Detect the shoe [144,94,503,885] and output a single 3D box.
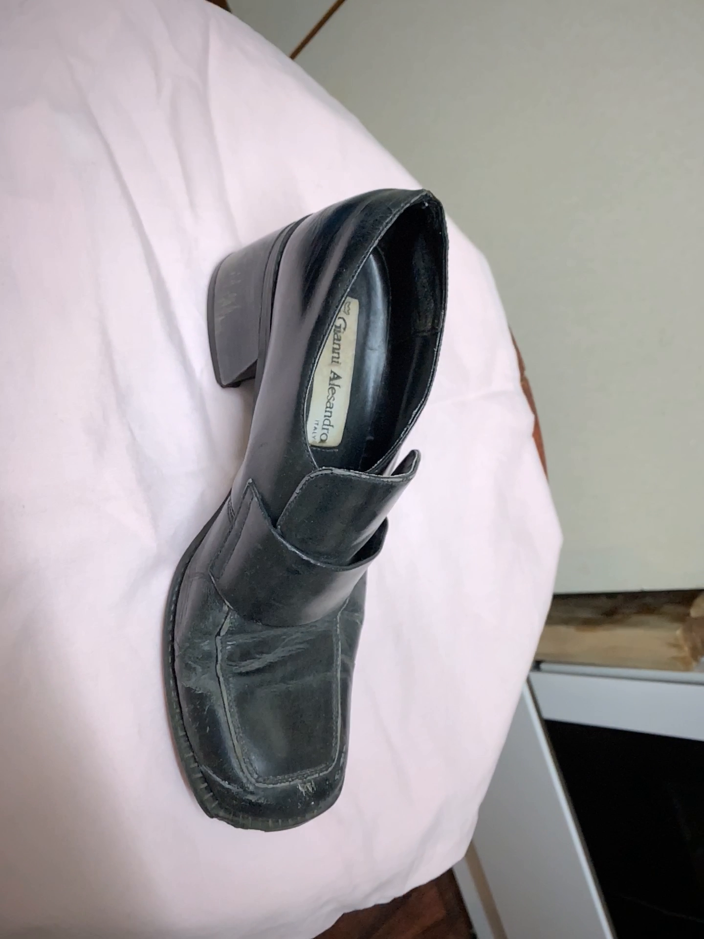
[{"bbox_3d":[-0.011,0.005,0.281,0.090,0.092,0.240,9,76,-35],"label":"shoe"}]
